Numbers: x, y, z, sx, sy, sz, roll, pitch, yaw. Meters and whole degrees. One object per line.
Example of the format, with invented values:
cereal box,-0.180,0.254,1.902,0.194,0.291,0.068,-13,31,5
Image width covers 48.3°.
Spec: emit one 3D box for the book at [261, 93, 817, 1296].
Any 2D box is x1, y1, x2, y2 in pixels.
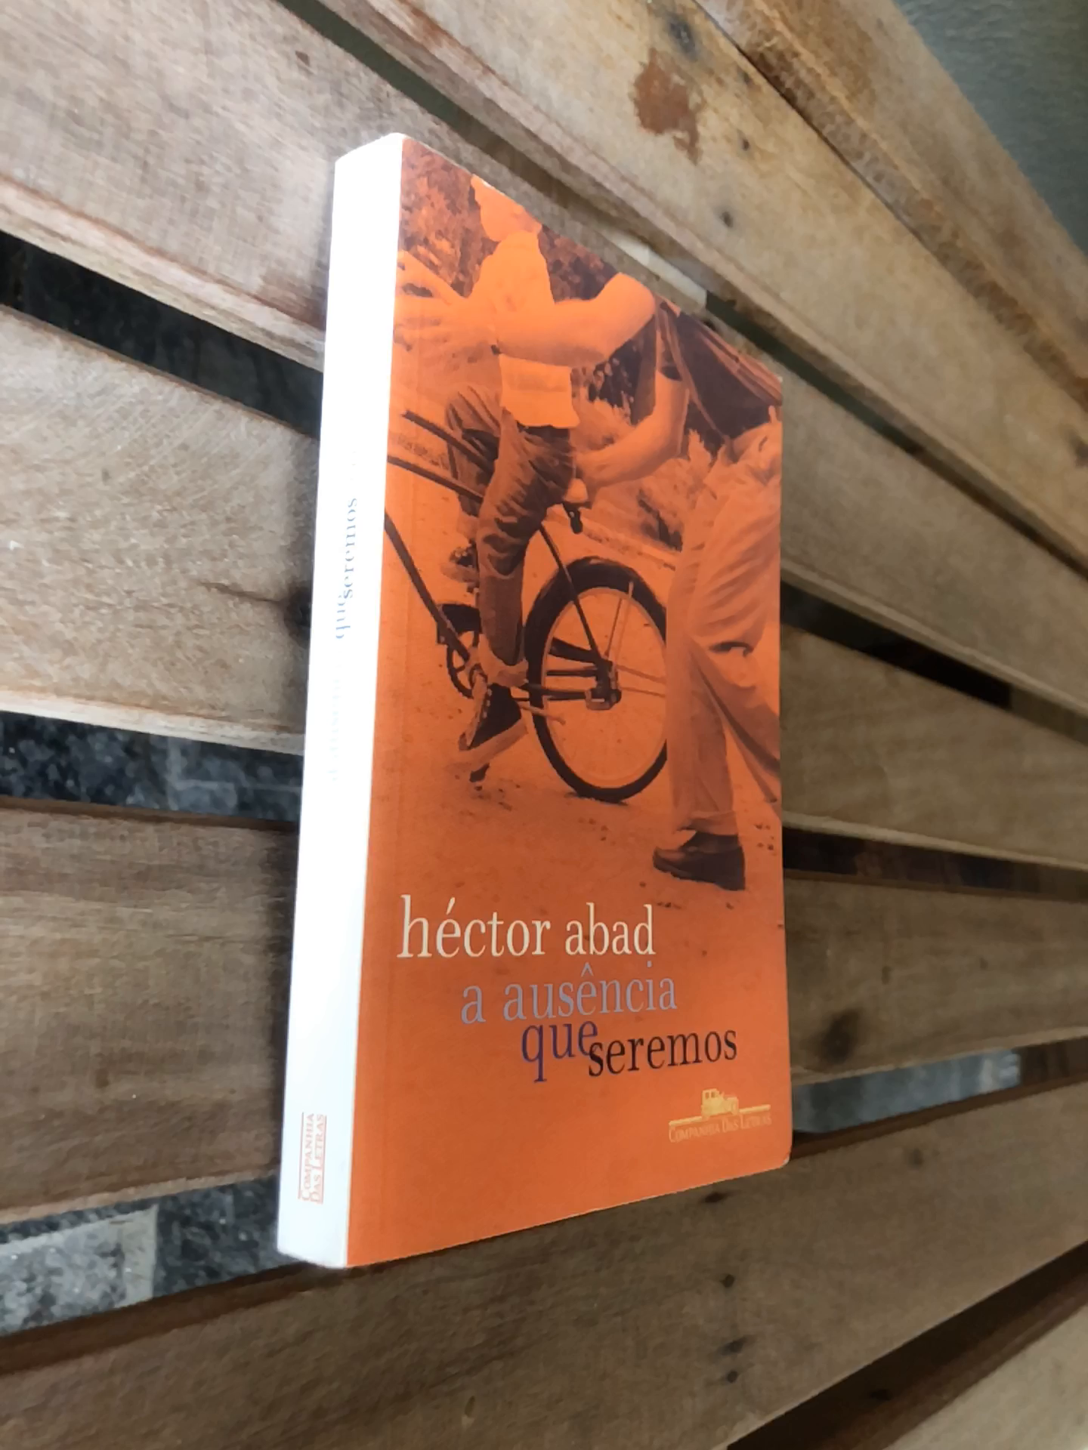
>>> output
book,0.012,-0.002,0.258,0.143,0.020,0.200,11,77,-47
